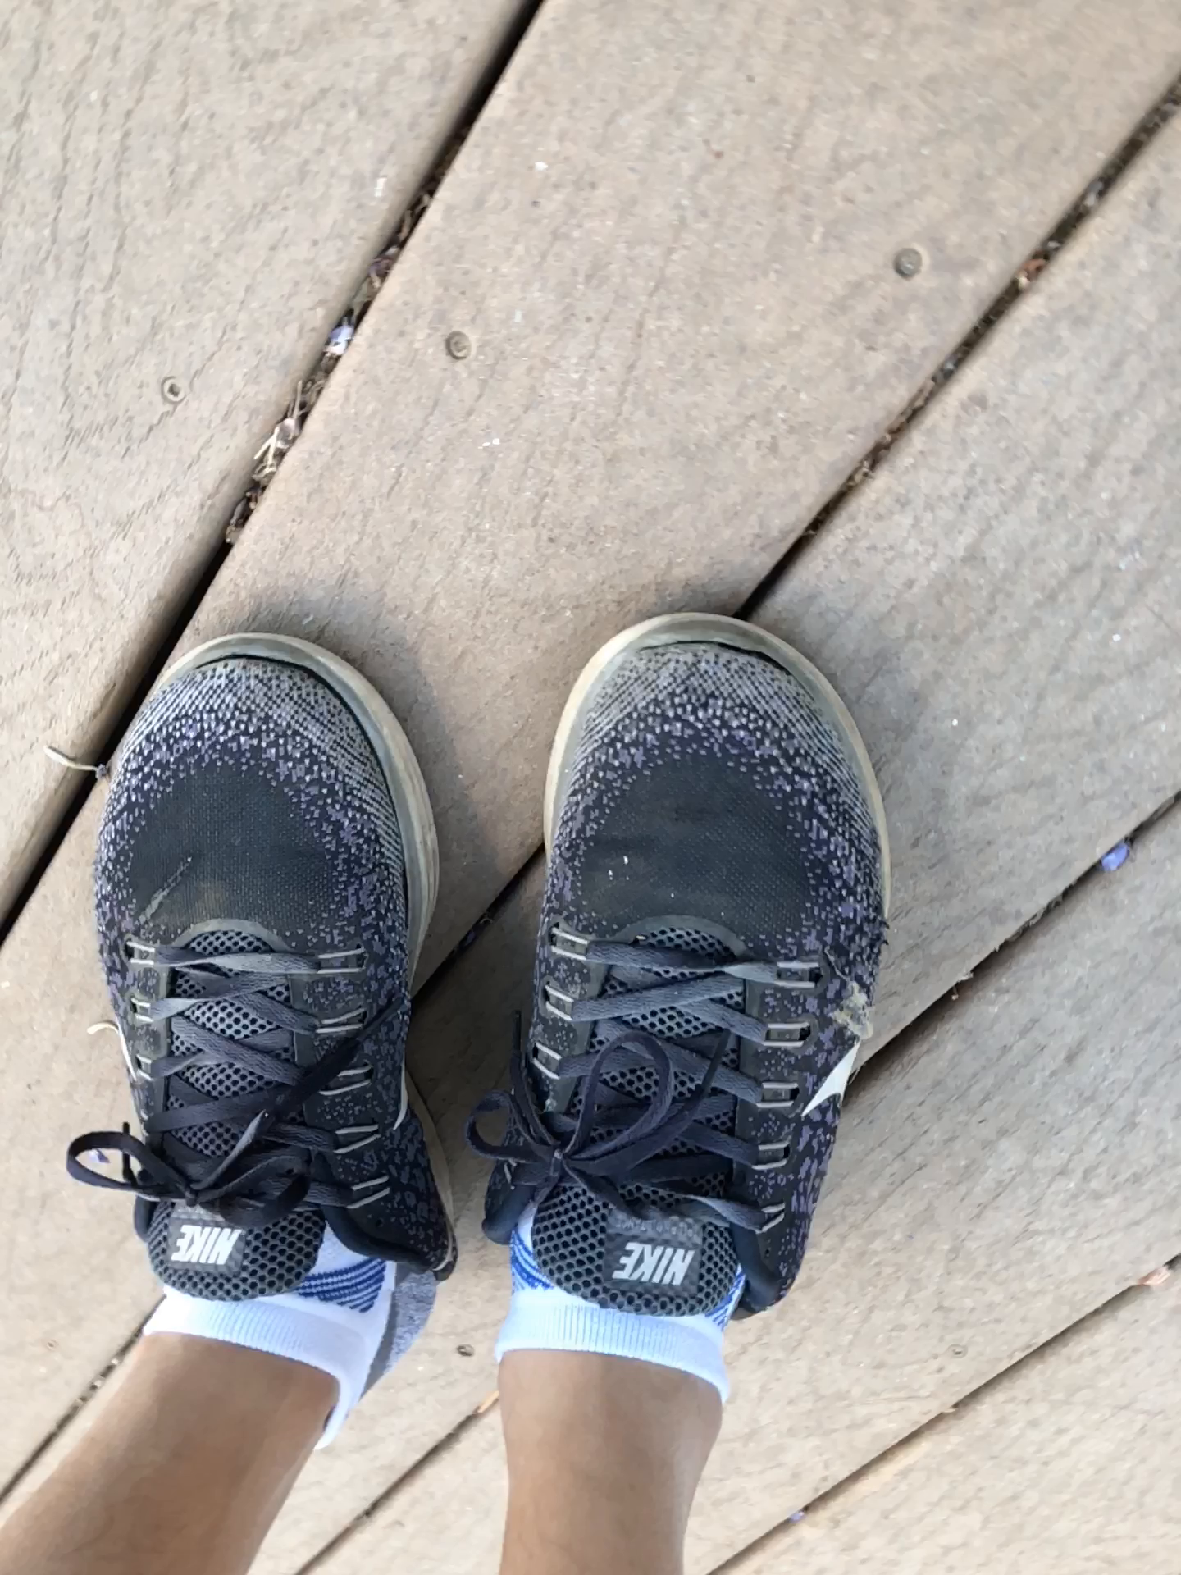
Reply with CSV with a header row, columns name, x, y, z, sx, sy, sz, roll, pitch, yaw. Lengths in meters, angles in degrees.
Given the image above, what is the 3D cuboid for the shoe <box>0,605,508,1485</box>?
name,x,y,z,sx,sy,sz,roll,pitch,yaw
shoe,-0.104,0.096,0.453,0.120,0.090,0.301,2,116,7

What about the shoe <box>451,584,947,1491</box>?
name,x,y,z,sx,sy,sz,roll,pitch,yaw
shoe,0.028,0.084,0.419,0.120,0.100,0.271,5,116,6

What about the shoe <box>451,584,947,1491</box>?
name,x,y,z,sx,sy,sz,roll,pitch,yaw
shoe,0.028,0.084,0.419,0.120,0.100,0.271,5,116,6
